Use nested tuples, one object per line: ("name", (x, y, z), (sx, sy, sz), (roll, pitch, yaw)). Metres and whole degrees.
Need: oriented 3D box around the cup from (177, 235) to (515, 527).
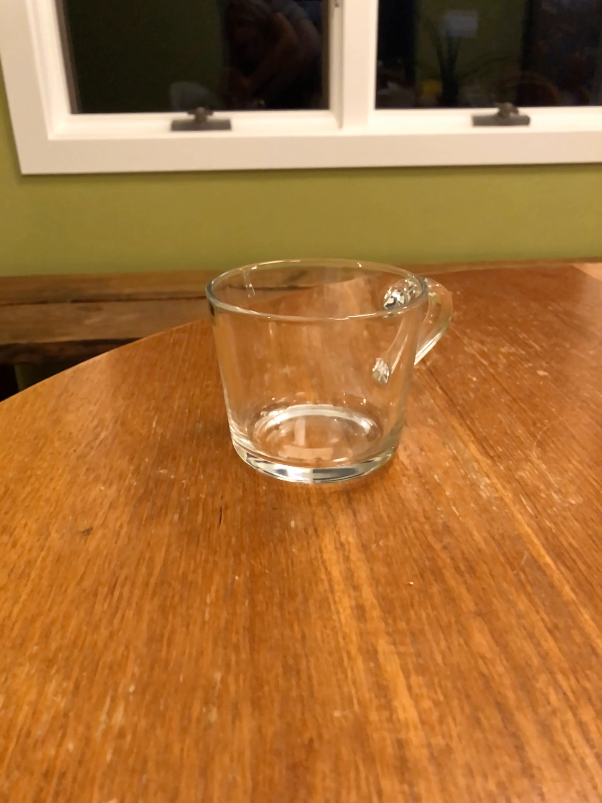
("cup", (0.019, -0.021, 0.327), (0.120, 0.089, 0.100), (-15, 29, -28))
